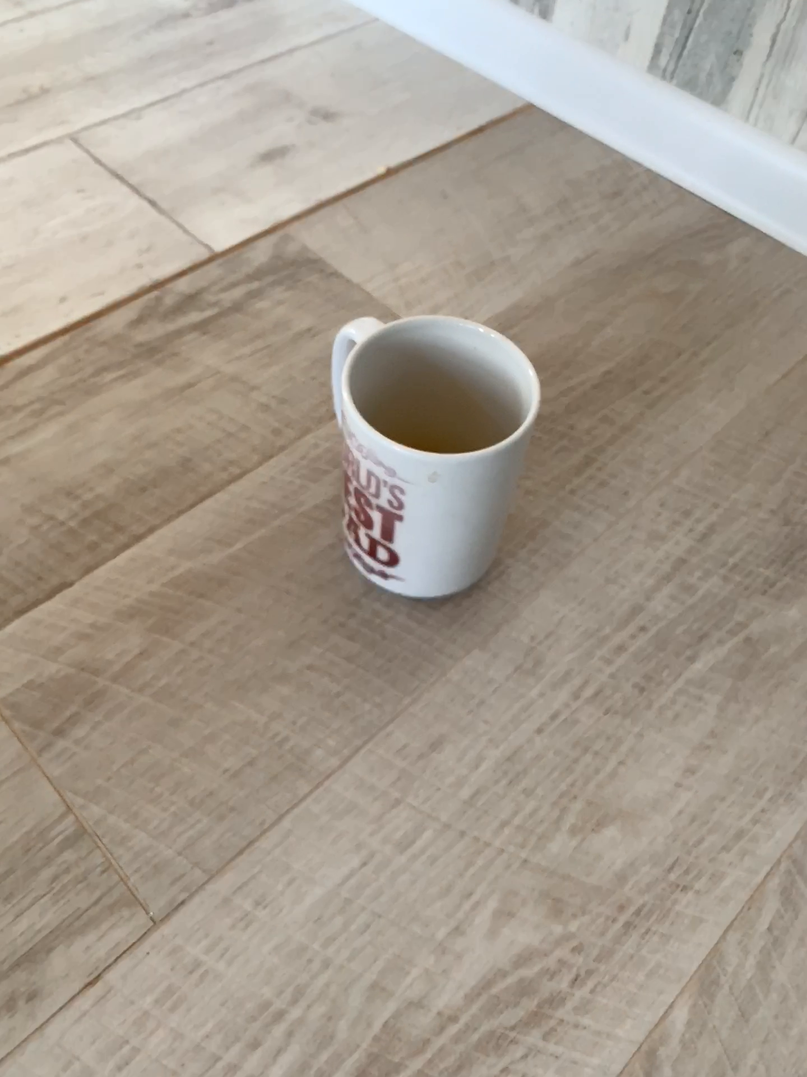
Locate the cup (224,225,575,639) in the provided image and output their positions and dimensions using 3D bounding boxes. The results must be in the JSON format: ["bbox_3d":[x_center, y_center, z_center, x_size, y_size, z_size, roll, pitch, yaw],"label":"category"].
[{"bbox_3d":[-0.008,-0.048,0.383,0.080,0.110,0.130,-29,62,-23],"label":"cup"}]
